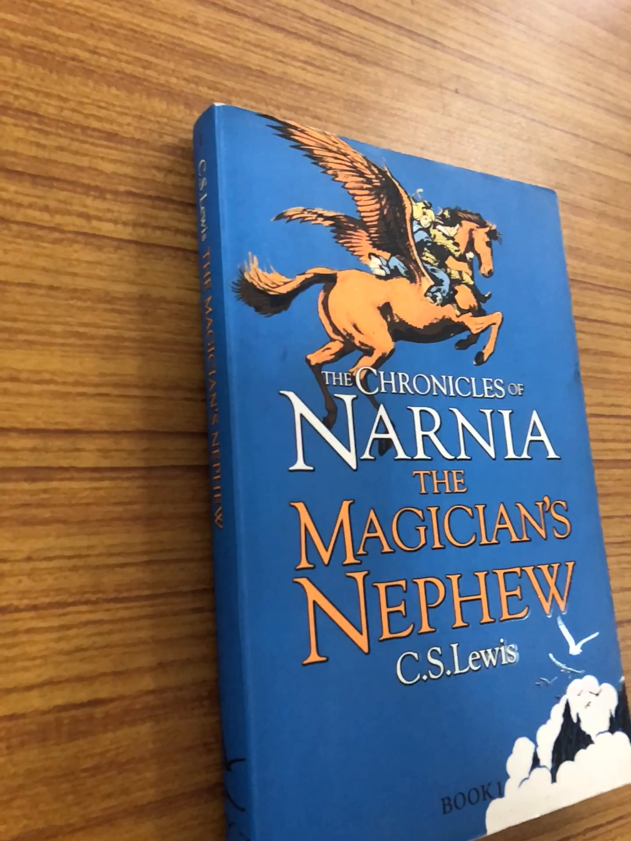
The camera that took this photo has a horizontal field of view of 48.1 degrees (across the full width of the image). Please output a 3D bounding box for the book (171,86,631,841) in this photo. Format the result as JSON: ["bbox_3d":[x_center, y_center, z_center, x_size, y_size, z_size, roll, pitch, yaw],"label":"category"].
[{"bbox_3d":[0.035,0.016,0.205,0.140,0.030,0.190,2,79,-31],"label":"book"}]
